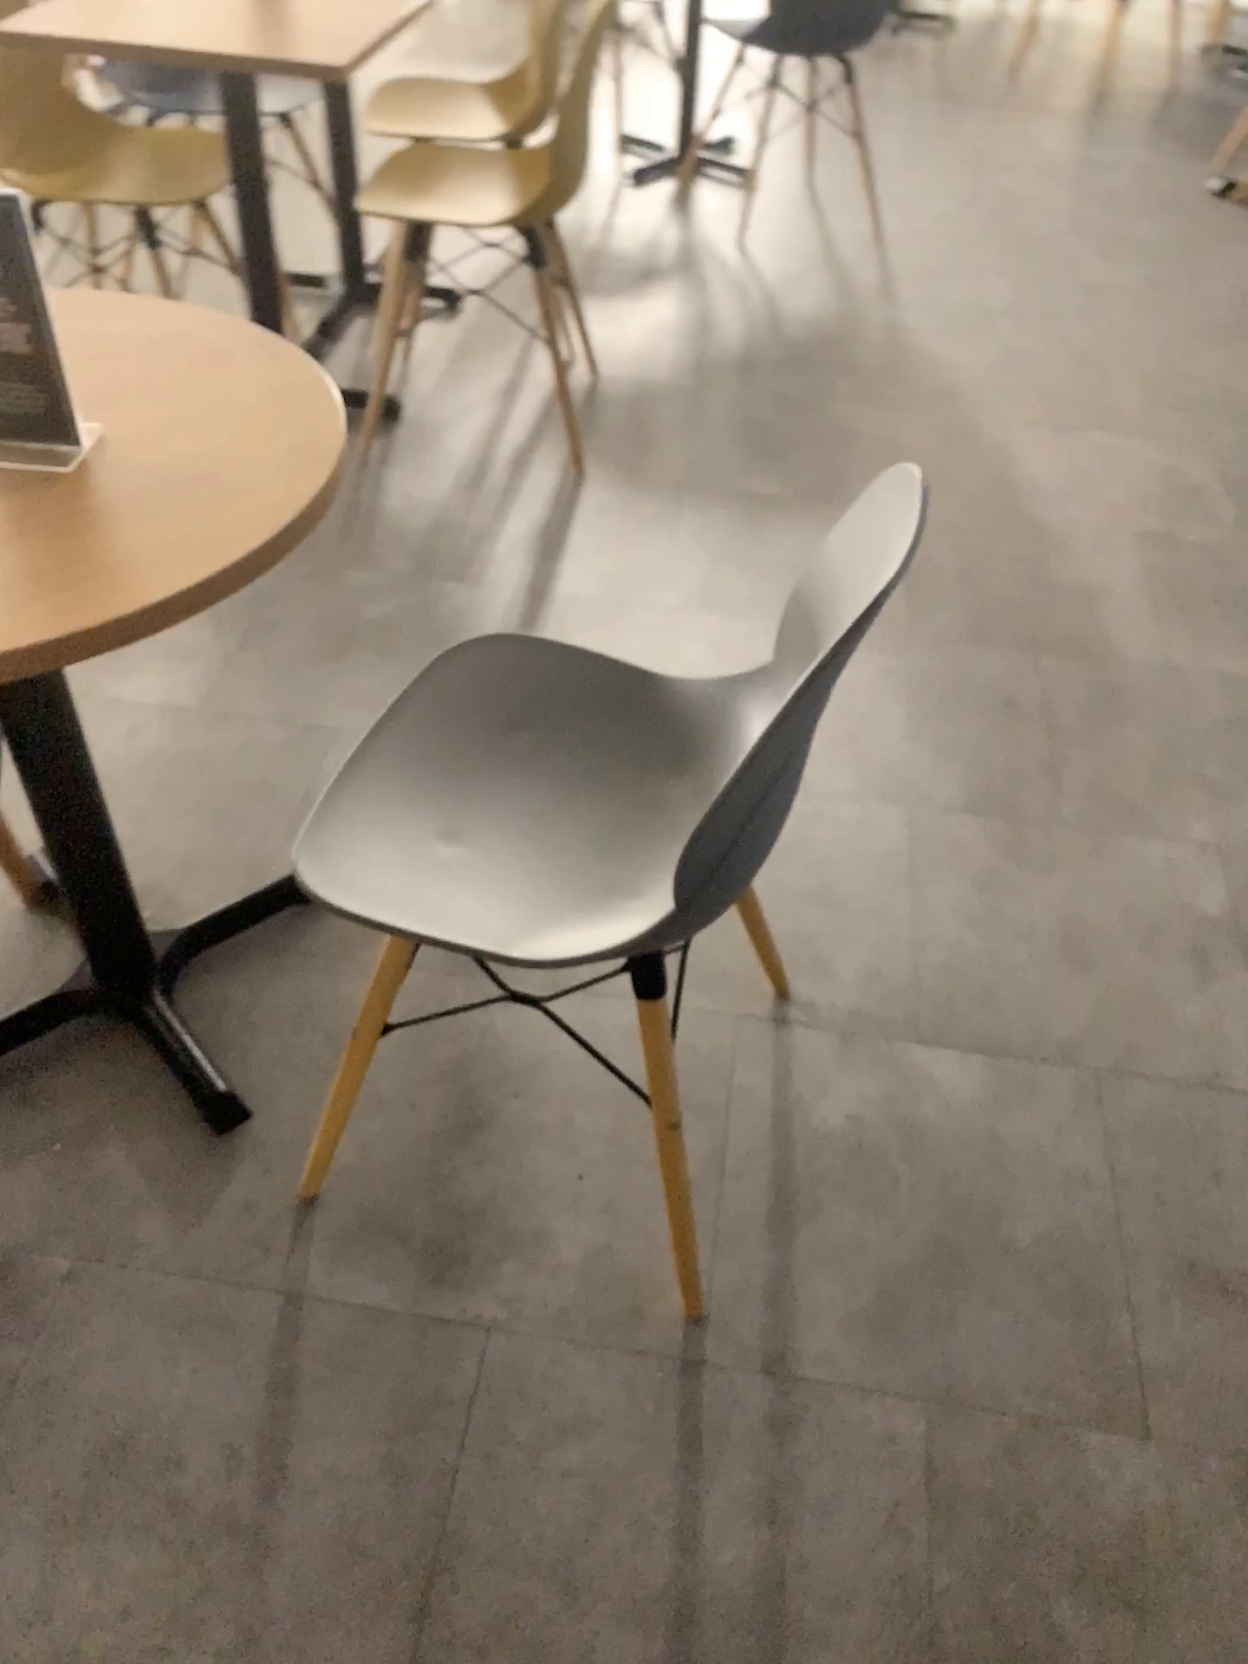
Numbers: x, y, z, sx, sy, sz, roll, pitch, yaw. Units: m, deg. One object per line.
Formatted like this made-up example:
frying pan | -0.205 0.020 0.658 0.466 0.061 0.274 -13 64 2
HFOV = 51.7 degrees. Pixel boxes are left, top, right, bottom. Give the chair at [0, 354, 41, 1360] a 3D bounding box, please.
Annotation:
chair | -0.980 0.033 1.228 0.510 0.753 0.560 -3 44 -7

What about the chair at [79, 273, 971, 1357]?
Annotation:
chair | -0.044 0.004 1.228 0.520 0.802 0.510 13 44 10
